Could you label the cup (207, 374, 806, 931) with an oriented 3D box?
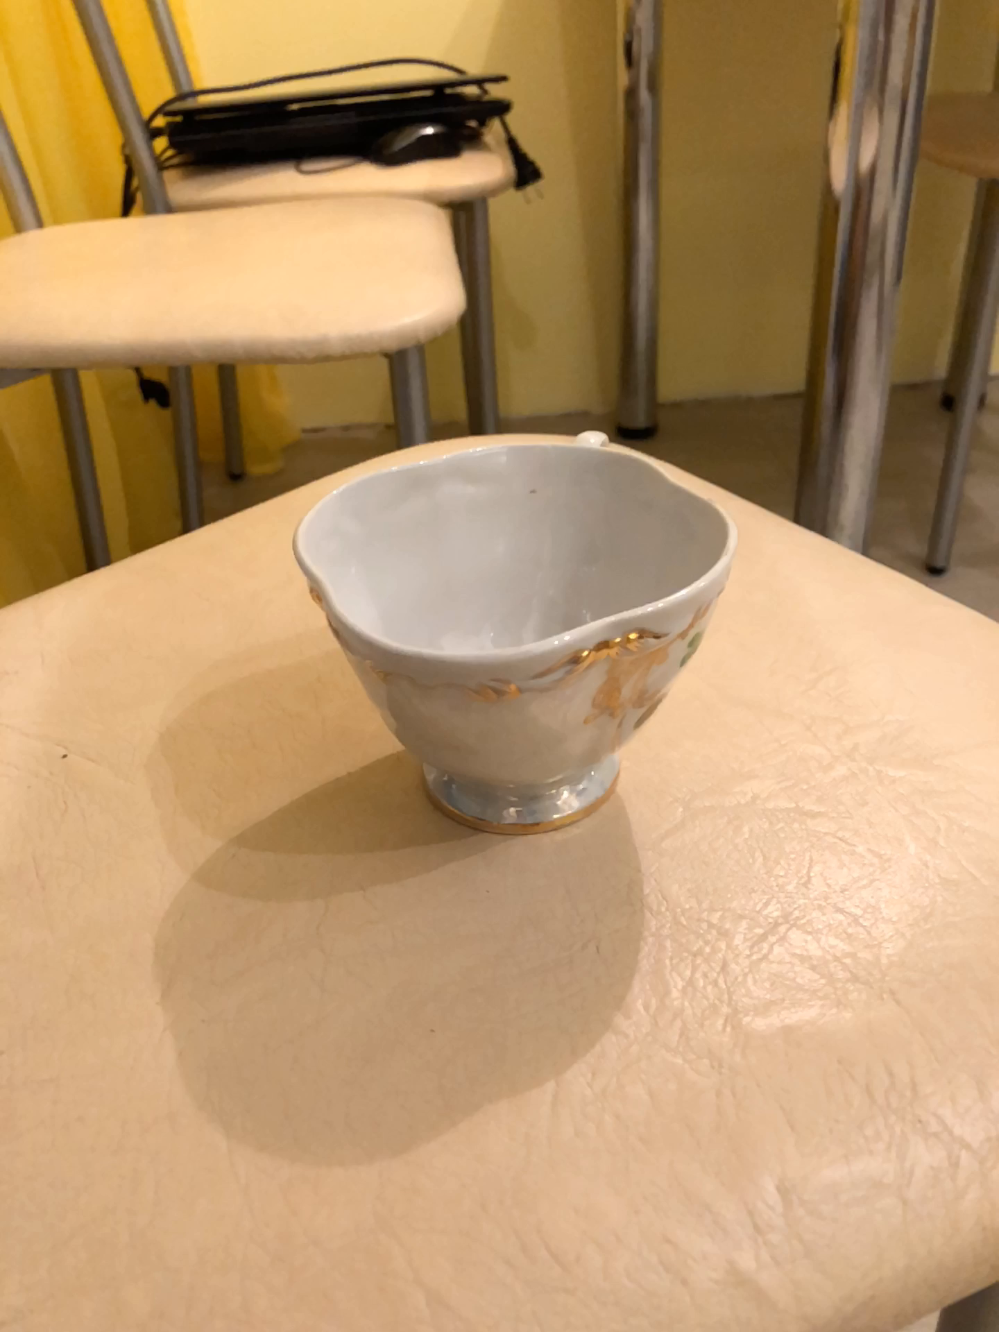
[{"bbox_3d":[0.013,-0.017,0.282,0.100,0.064,0.140,10,35,19],"label":"cup"}]
